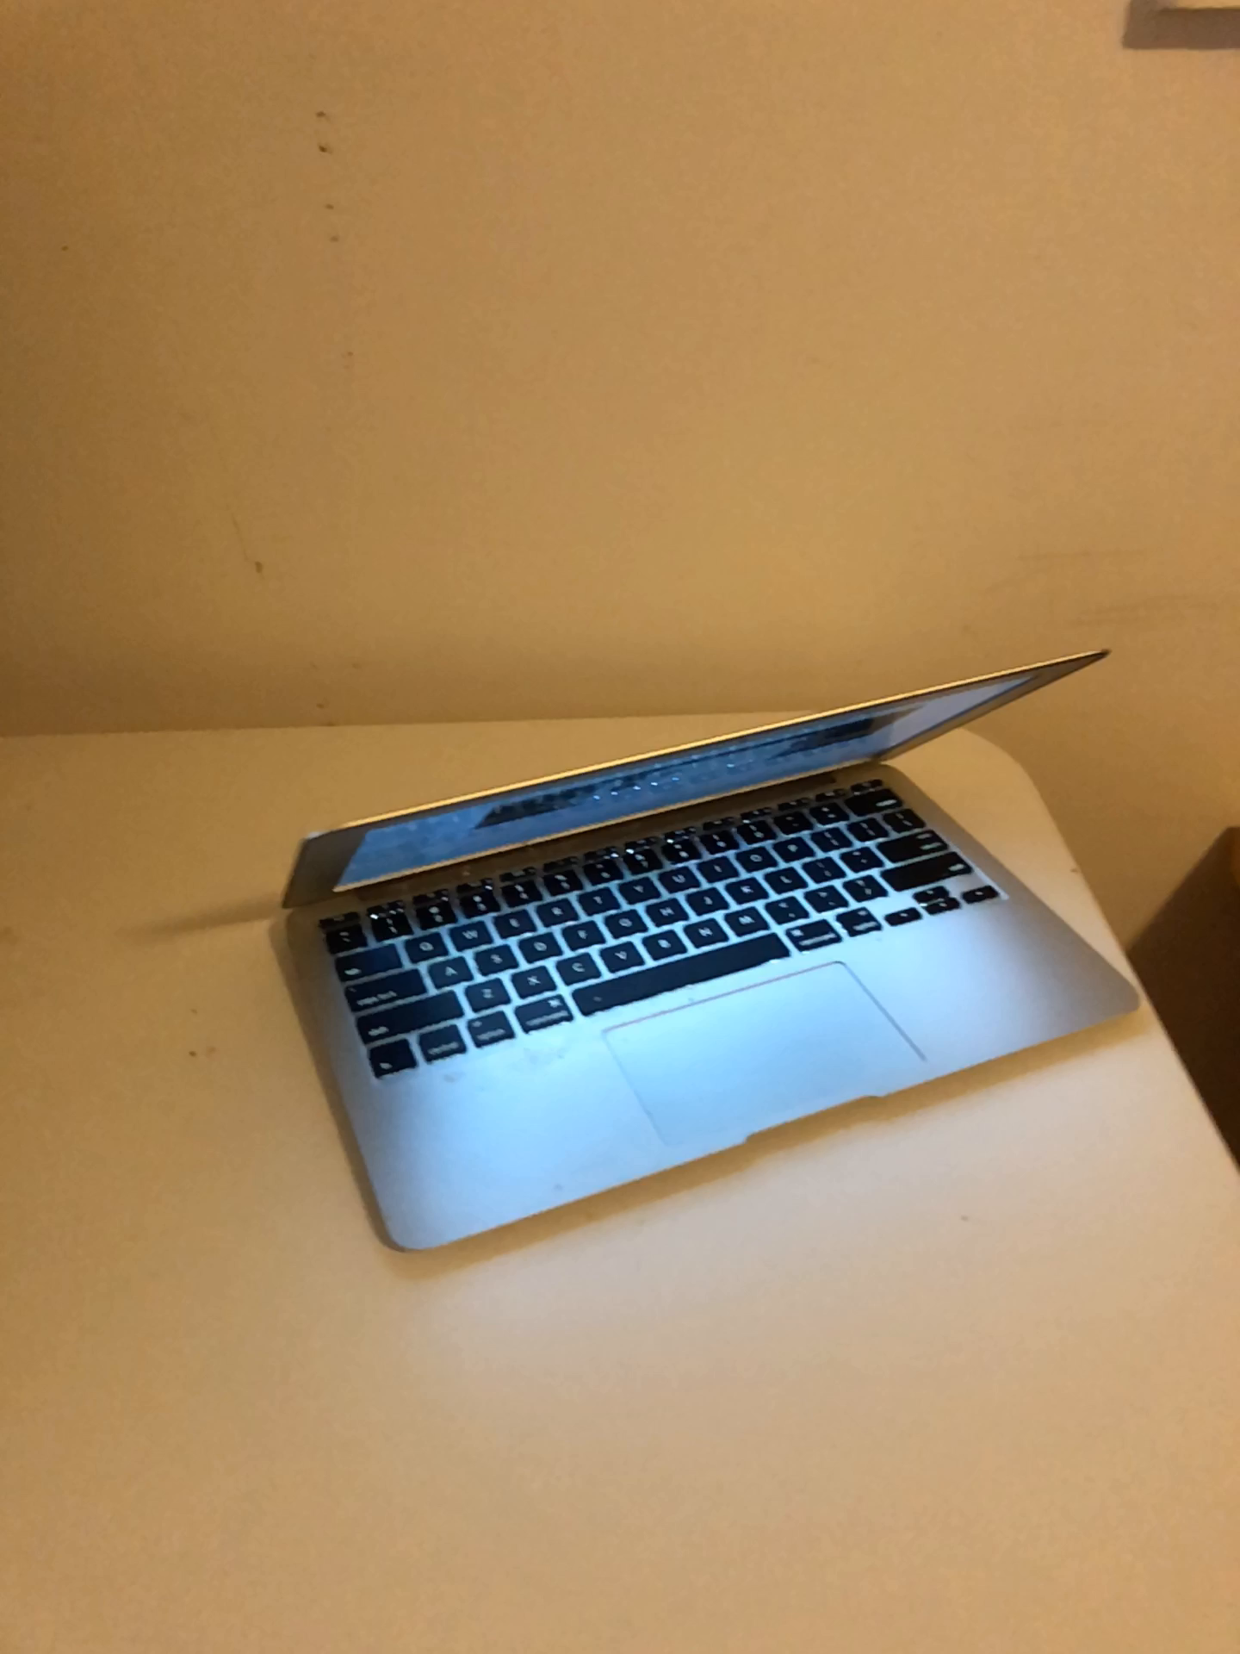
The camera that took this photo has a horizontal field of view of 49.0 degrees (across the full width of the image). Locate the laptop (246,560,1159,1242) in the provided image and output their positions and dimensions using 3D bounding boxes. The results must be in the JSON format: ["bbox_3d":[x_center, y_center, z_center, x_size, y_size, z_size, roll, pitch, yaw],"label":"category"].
[{"bbox_3d":[0.026,0.004,0.517,0.285,0.108,0.182,-13,36,-22],"label":"laptop"}]
